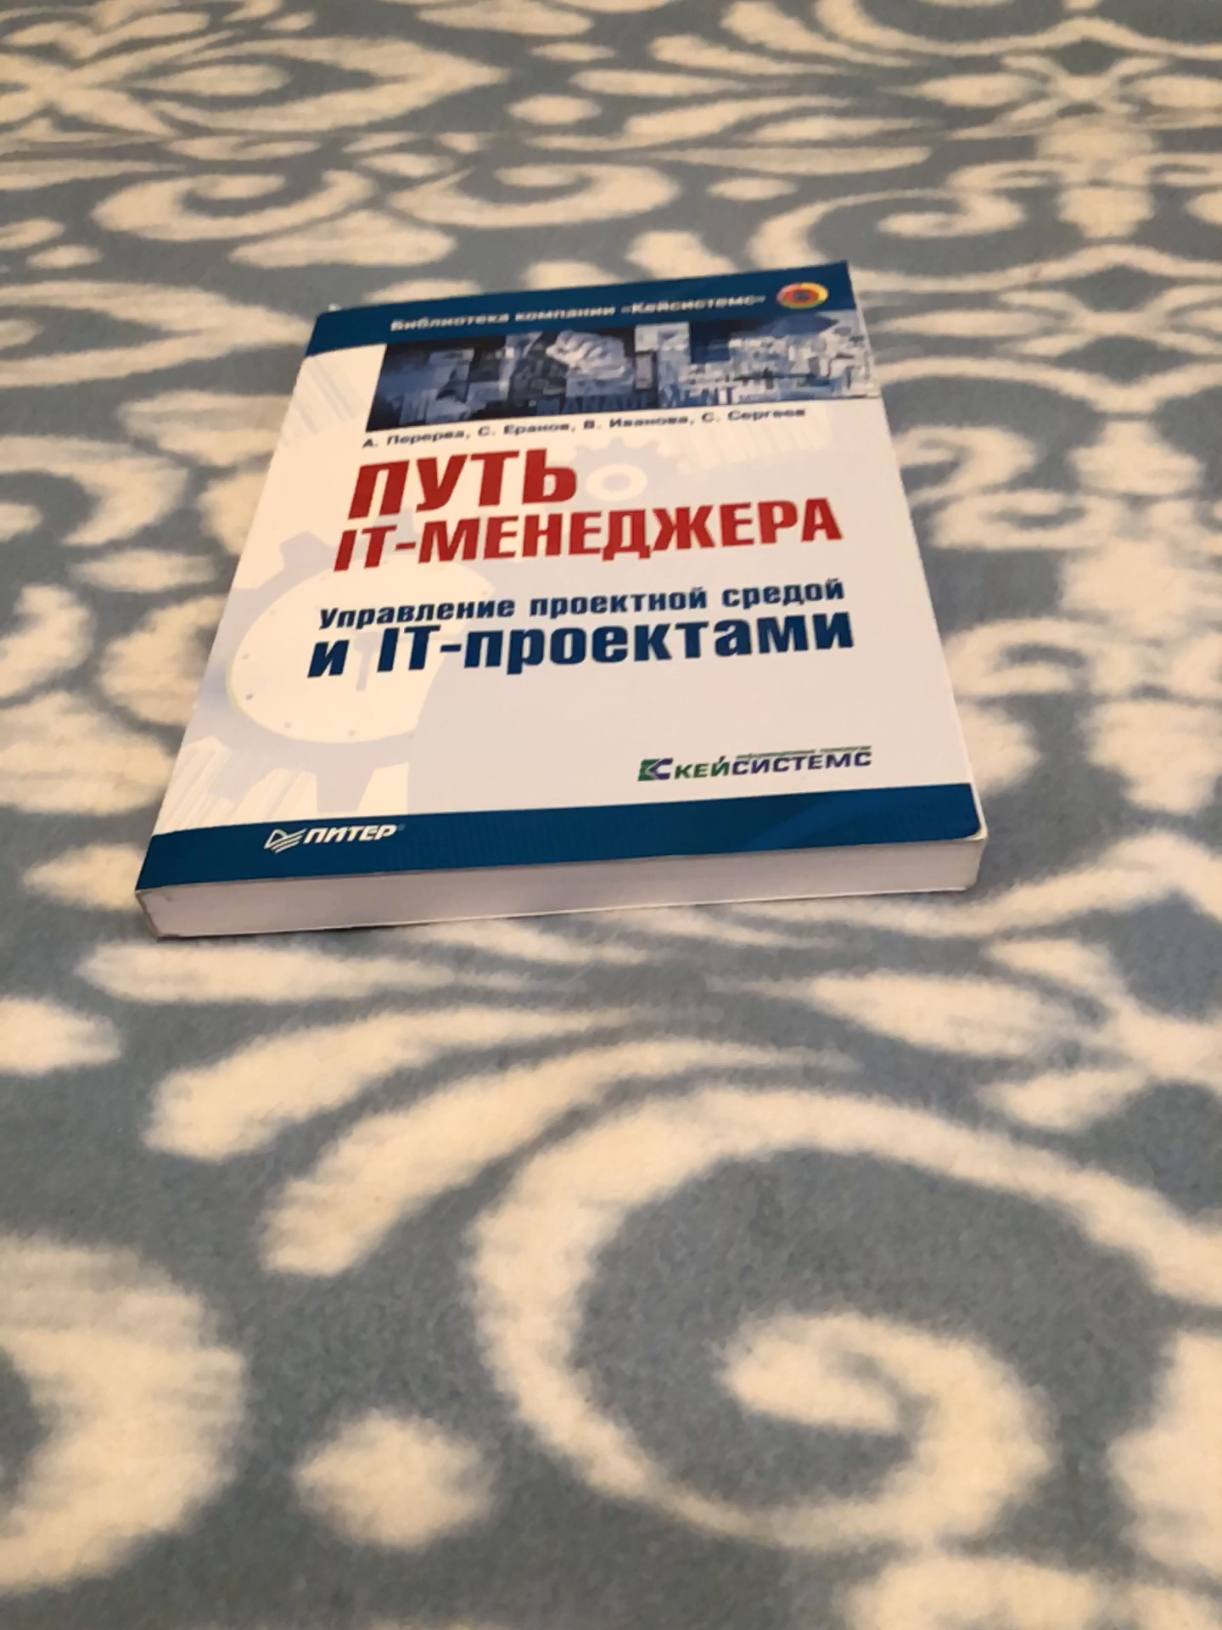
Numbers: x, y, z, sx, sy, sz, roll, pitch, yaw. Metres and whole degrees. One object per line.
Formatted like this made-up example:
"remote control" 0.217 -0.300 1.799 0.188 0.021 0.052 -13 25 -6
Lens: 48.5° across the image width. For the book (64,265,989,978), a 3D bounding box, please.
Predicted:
"book" -0.016 -0.064 0.334 0.173 0.019 0.229 -4 48 5
